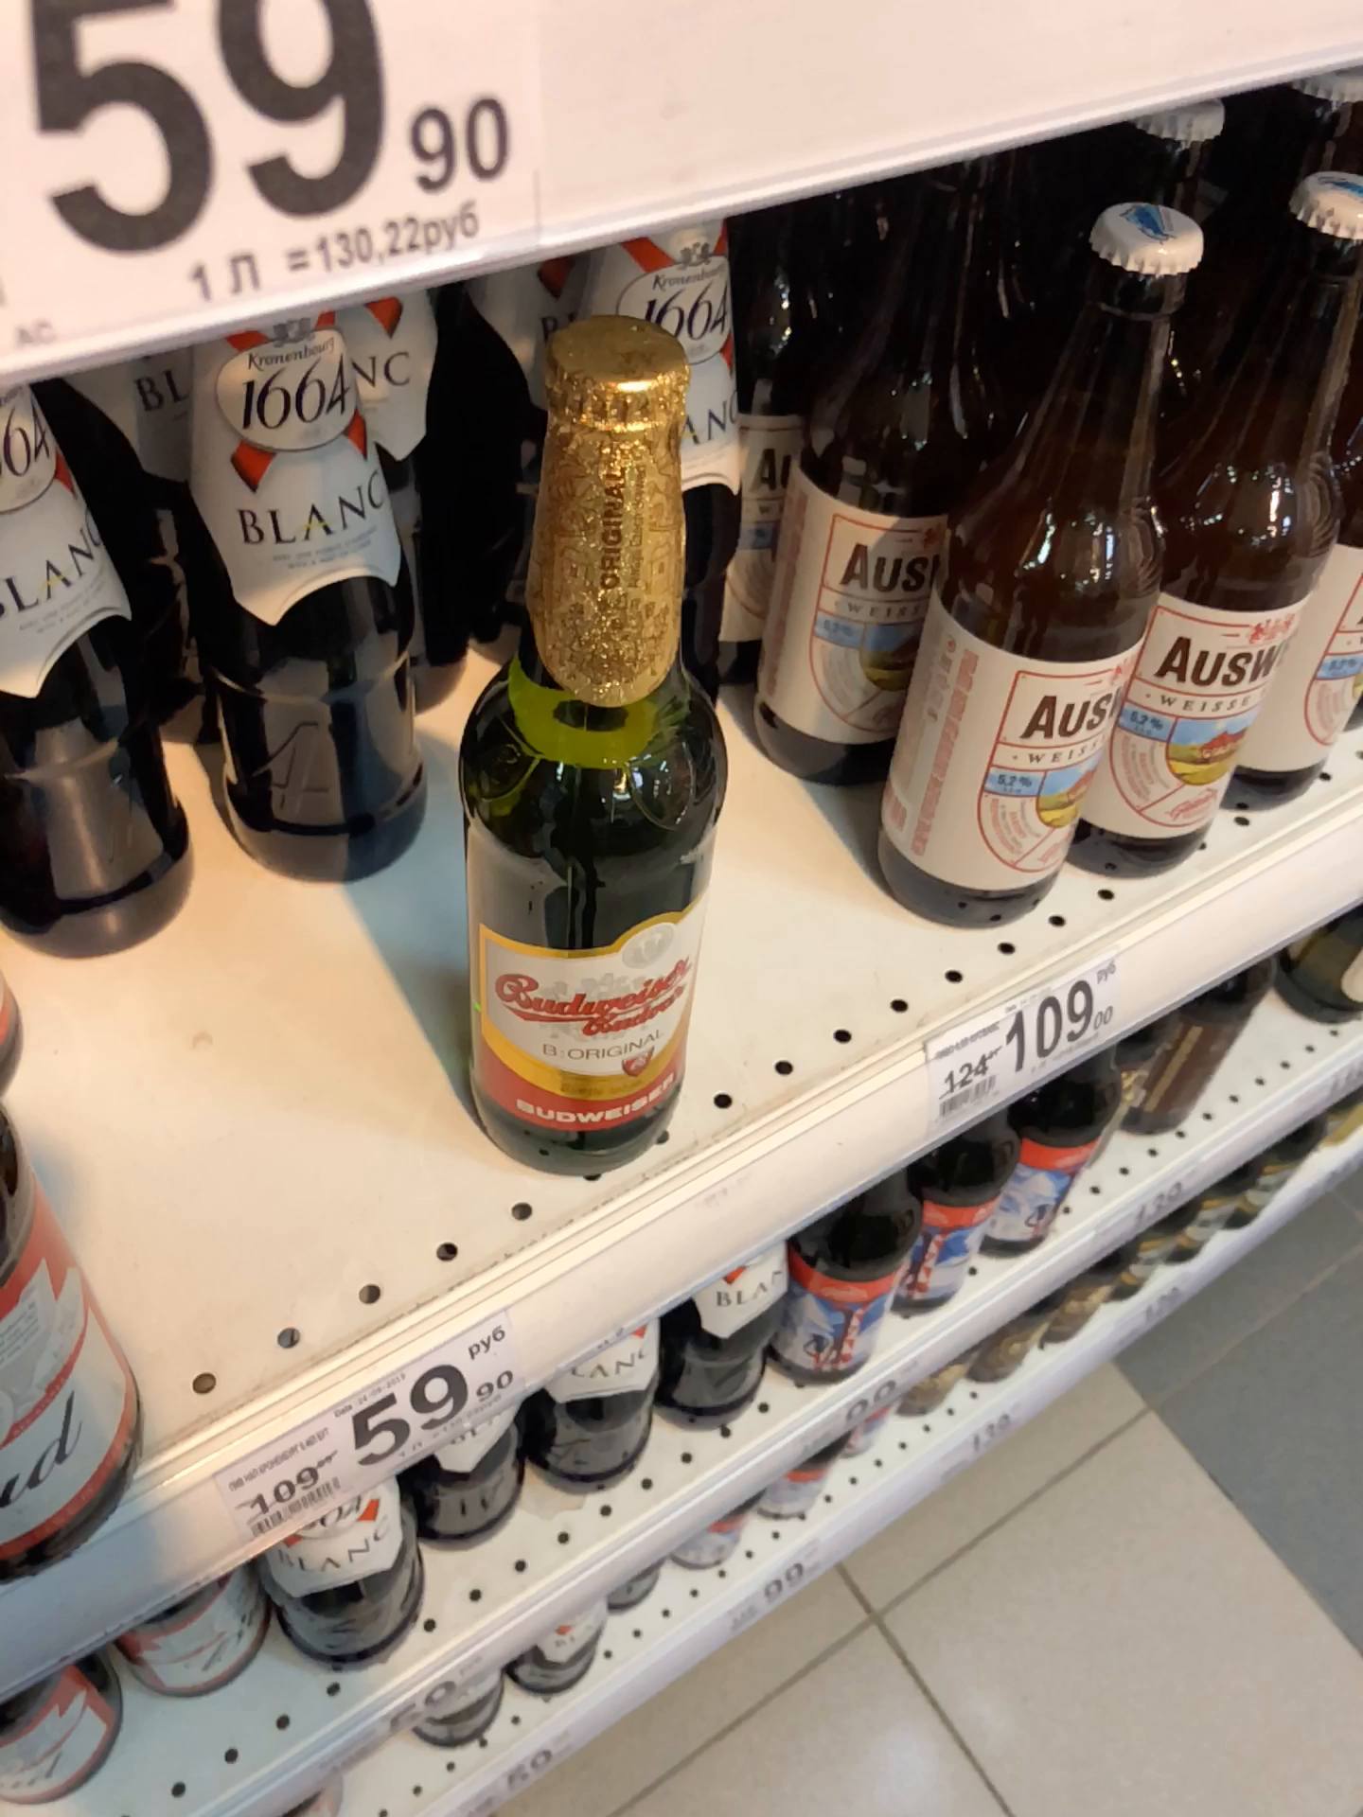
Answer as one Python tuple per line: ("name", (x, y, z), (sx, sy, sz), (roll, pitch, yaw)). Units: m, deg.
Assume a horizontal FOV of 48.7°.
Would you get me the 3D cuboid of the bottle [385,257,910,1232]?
("bottle", (-0.019, -0.019, 0.375), (0.080, 0.255, 0.070), (-11, 53, -15))
